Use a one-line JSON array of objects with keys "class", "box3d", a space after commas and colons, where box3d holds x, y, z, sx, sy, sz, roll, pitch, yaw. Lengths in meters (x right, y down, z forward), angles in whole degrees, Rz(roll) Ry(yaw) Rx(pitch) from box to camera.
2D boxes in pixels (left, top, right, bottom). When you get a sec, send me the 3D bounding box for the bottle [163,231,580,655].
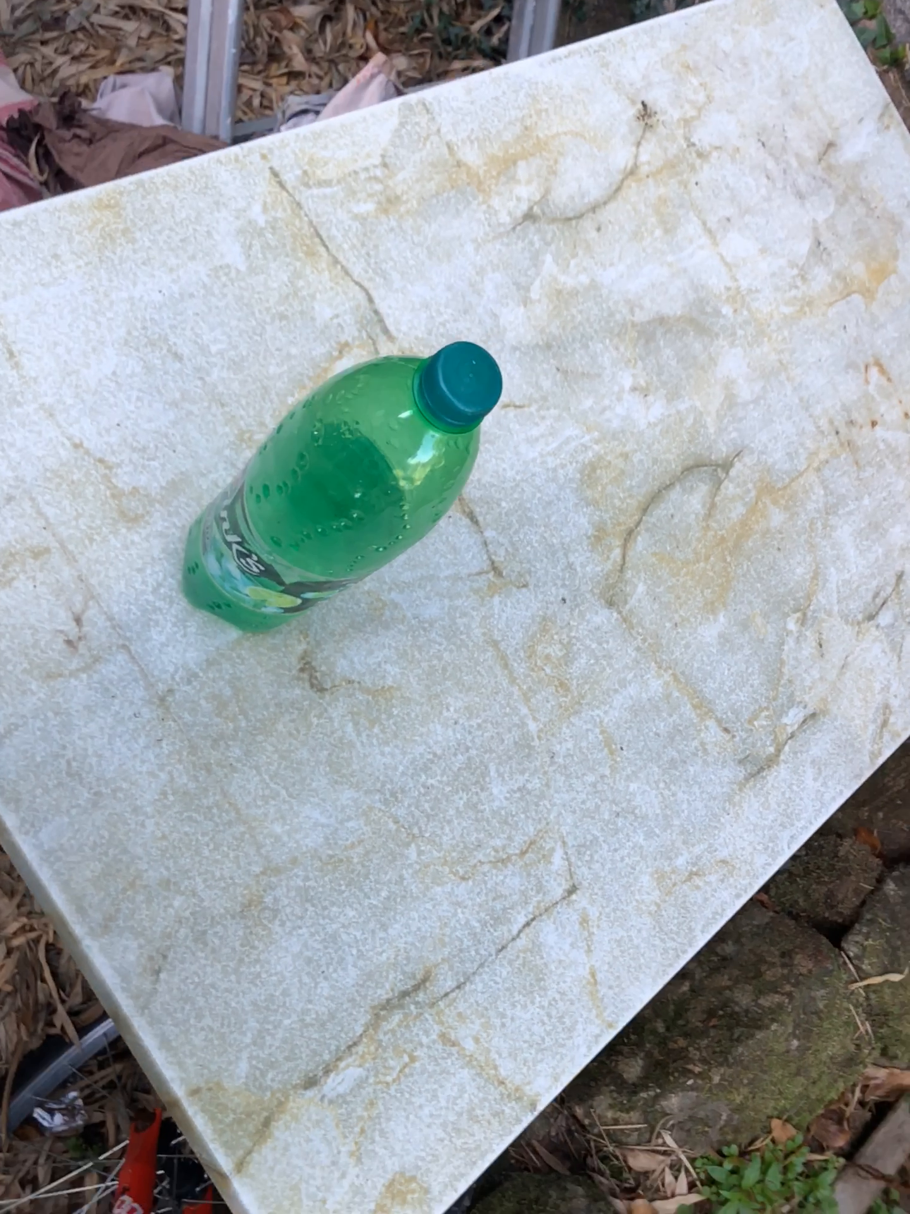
[{"class": "bottle", "box3d": [-0.064, -0.053, 0.504, 0.090, 0.308, 0.090, 6, 77, -25]}]
